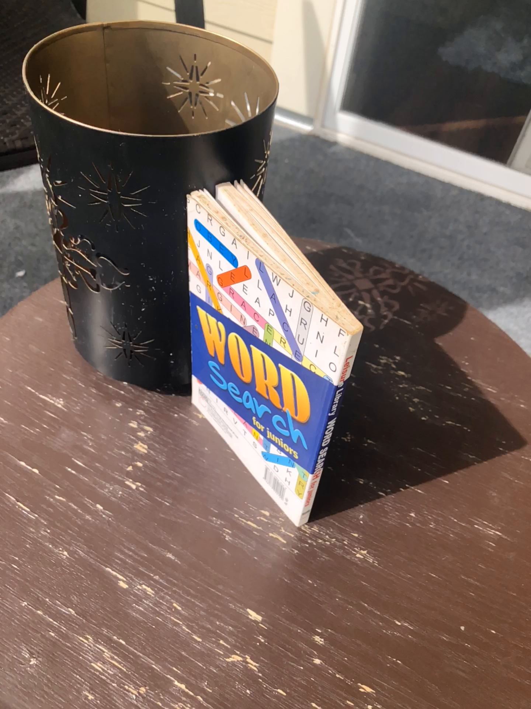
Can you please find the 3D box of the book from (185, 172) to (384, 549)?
[{"bbox_3d":[-0.001,0.011,0.334,0.031,0.179,0.125,-21,53,-22],"label":"book"}]
